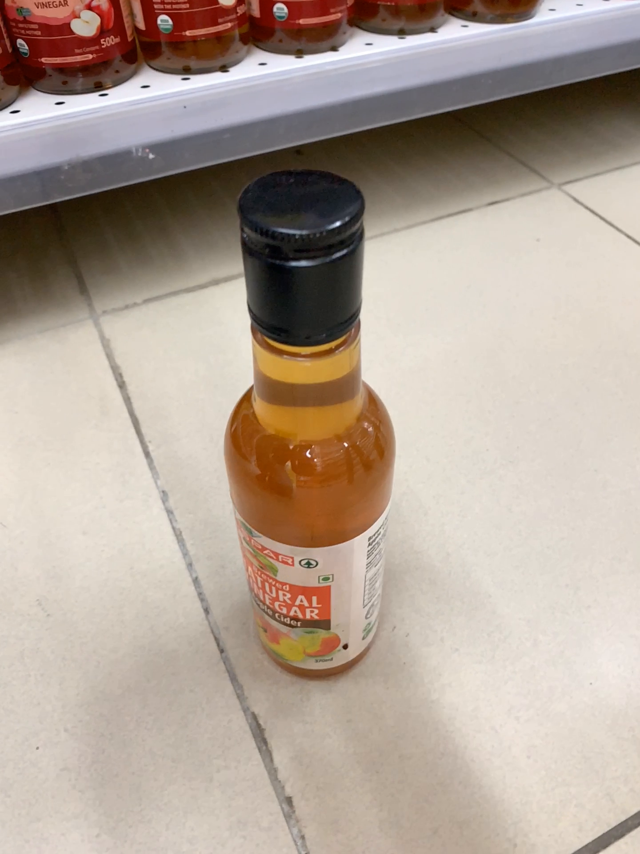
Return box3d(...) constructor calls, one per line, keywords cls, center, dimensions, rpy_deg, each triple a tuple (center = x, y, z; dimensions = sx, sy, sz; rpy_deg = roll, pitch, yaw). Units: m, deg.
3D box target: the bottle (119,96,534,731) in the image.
box3d(cls="bottle", center=(0.003, 0.019, 0.228), dimensions=(0.070, 0.219, 0.060), rpy_deg=(33, 56, 28))
